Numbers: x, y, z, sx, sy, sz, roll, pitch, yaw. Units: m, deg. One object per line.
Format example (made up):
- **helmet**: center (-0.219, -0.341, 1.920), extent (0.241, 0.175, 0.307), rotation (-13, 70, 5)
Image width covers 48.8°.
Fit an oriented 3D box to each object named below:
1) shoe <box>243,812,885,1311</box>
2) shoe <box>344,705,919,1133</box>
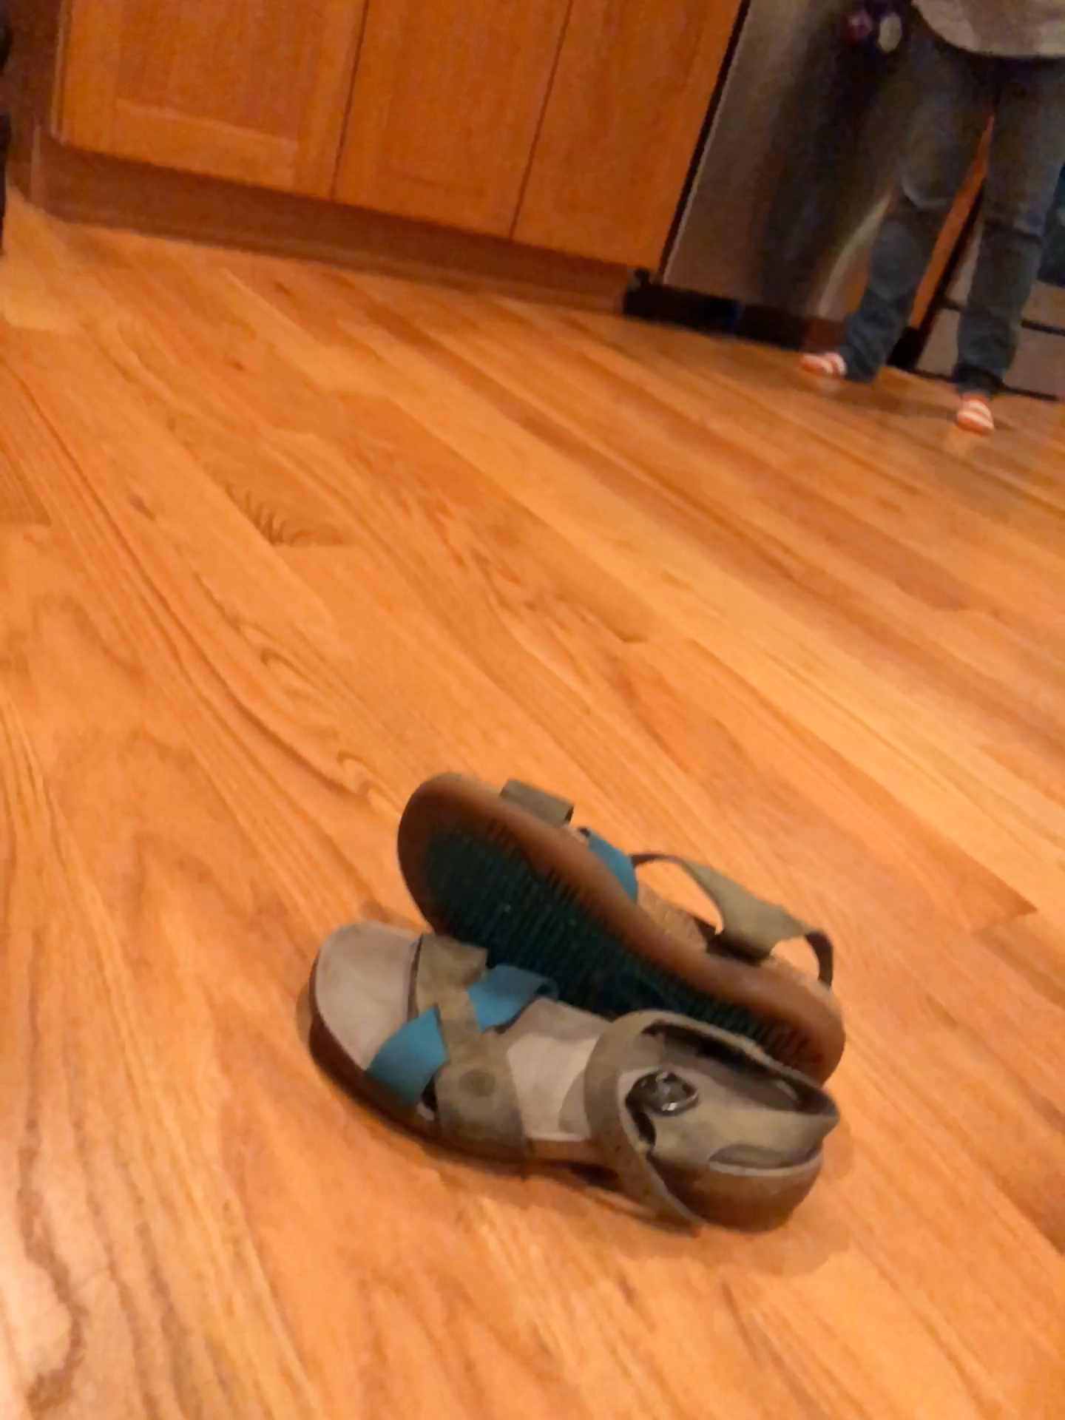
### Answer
- **shoe**: center (0.016, 0.140, 0.497), extent (0.240, 0.075, 0.105), rotation (20, 27, 5)
- **shoe**: center (0.043, 0.096, 0.552), extent (0.238, 0.104, 0.065), rotation (20, 27, 5)
